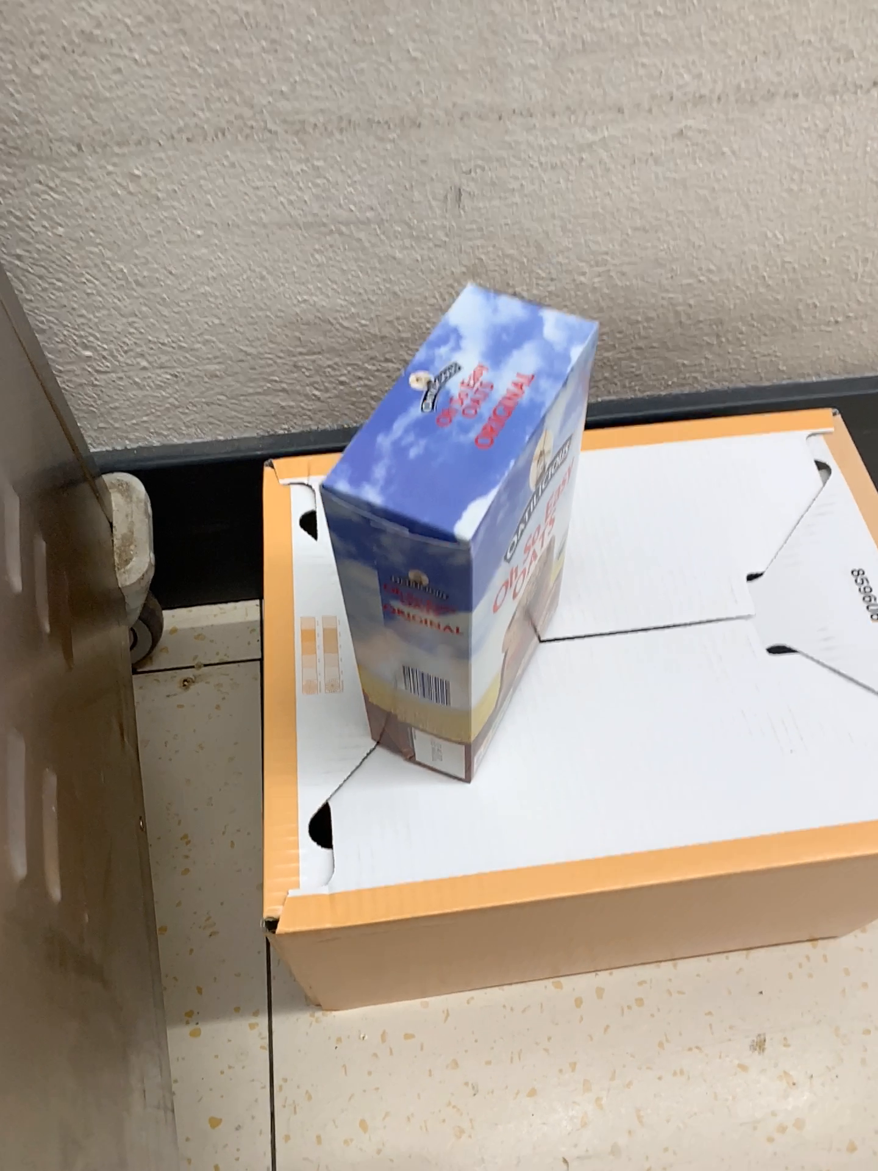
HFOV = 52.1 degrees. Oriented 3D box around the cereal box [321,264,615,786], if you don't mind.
[{"bbox_3d":[0.017,-0.014,0.427,0.060,0.218,0.131,22,59,15],"label":"cereal box"}]
